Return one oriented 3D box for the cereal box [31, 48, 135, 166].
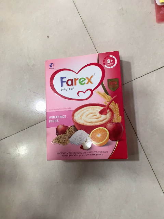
[{"bbox_3d":[-0.002,0.000,0.310,0.170,0.050,0.190,-4,82,10],"label":"cereal box"}]
